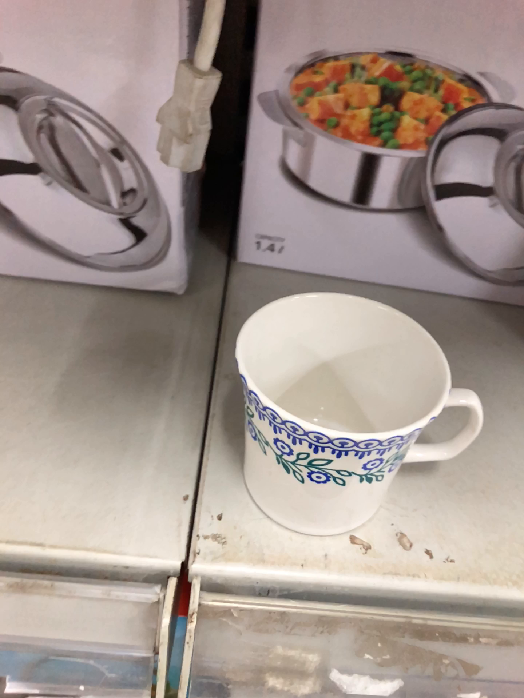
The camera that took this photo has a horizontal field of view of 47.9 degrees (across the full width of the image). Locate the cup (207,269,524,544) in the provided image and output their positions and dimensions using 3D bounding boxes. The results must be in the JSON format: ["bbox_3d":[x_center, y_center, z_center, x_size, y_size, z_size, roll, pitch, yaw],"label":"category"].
[{"bbox_3d":[0.031,0.021,0.219,0.100,0.070,0.070,2,41,-7],"label":"cup"}]
